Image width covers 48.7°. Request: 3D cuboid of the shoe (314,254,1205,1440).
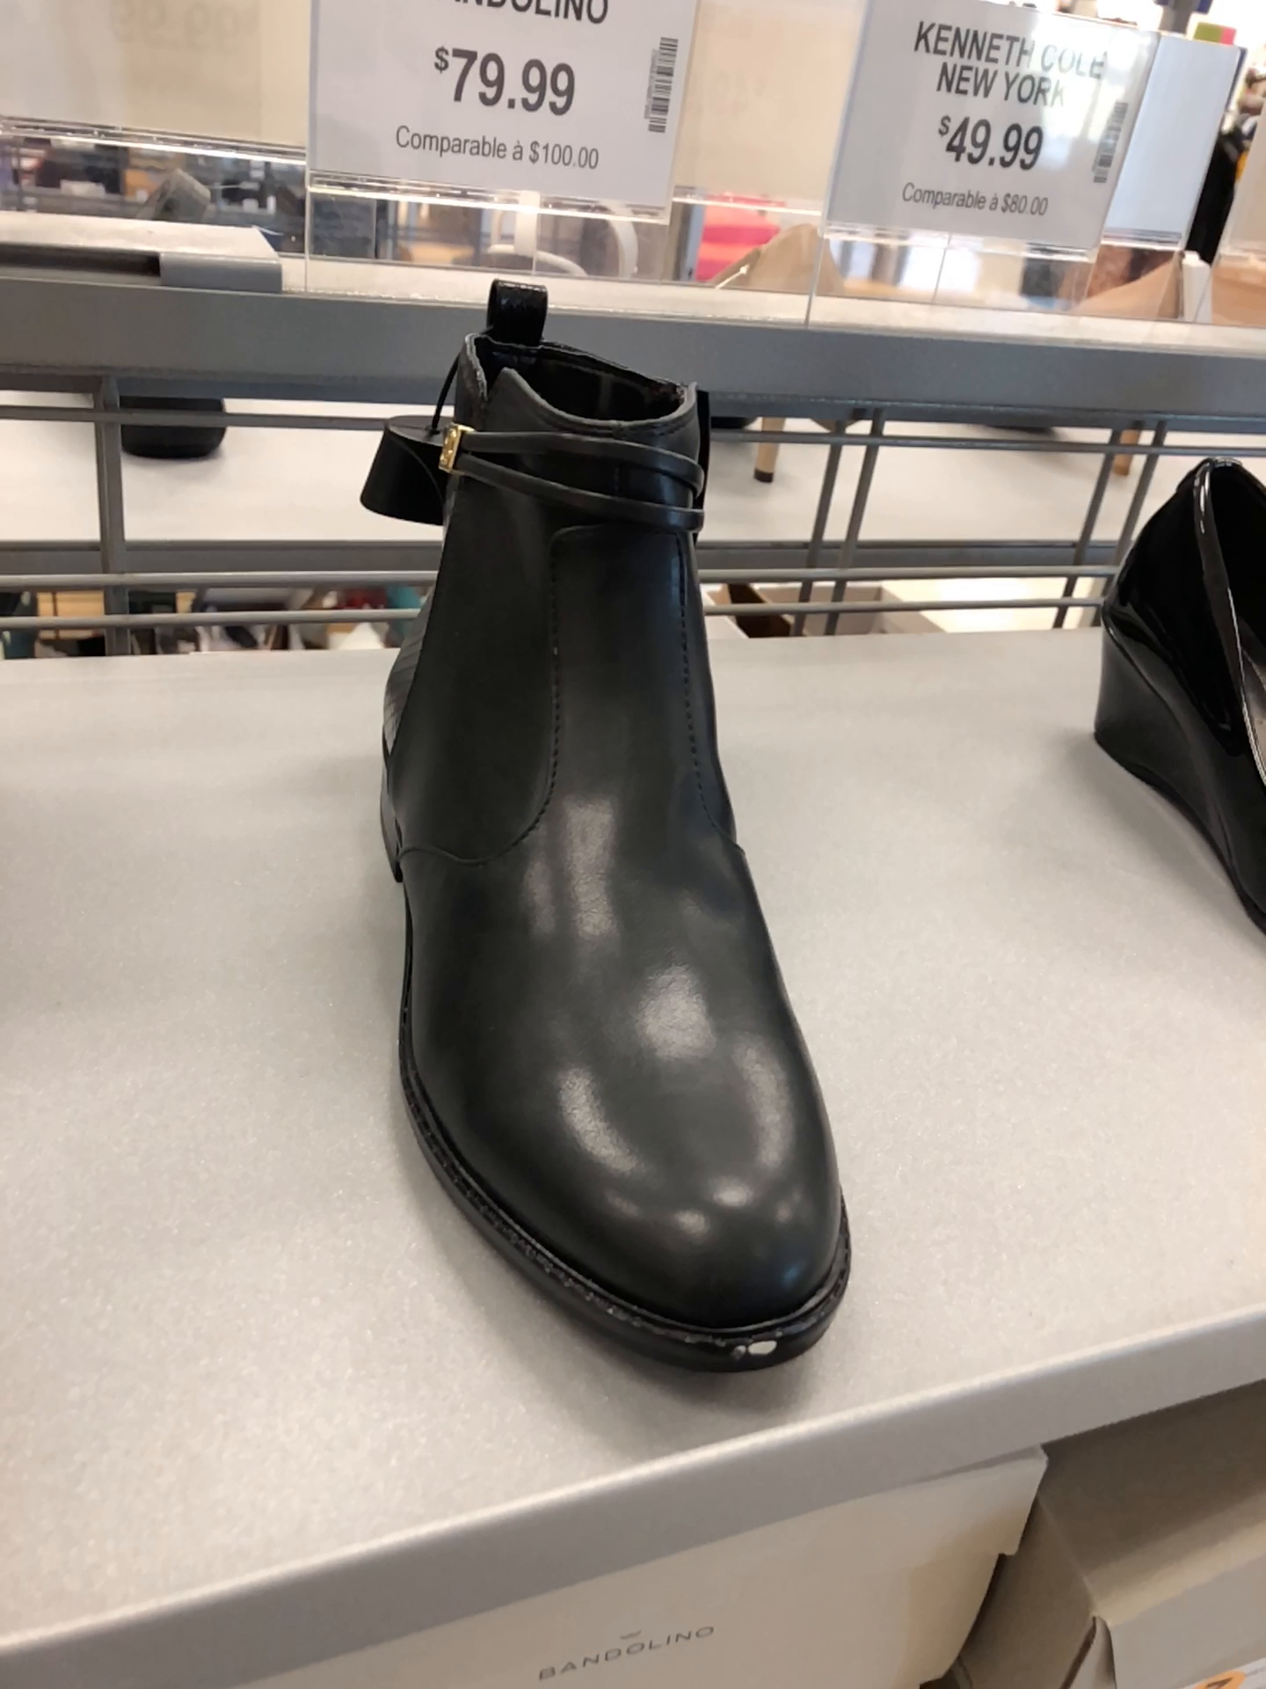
[{"bbox_3d":[-0.008,-0.024,0.310,0.090,0.149,0.232,-3,33,-20],"label":"shoe"}]
